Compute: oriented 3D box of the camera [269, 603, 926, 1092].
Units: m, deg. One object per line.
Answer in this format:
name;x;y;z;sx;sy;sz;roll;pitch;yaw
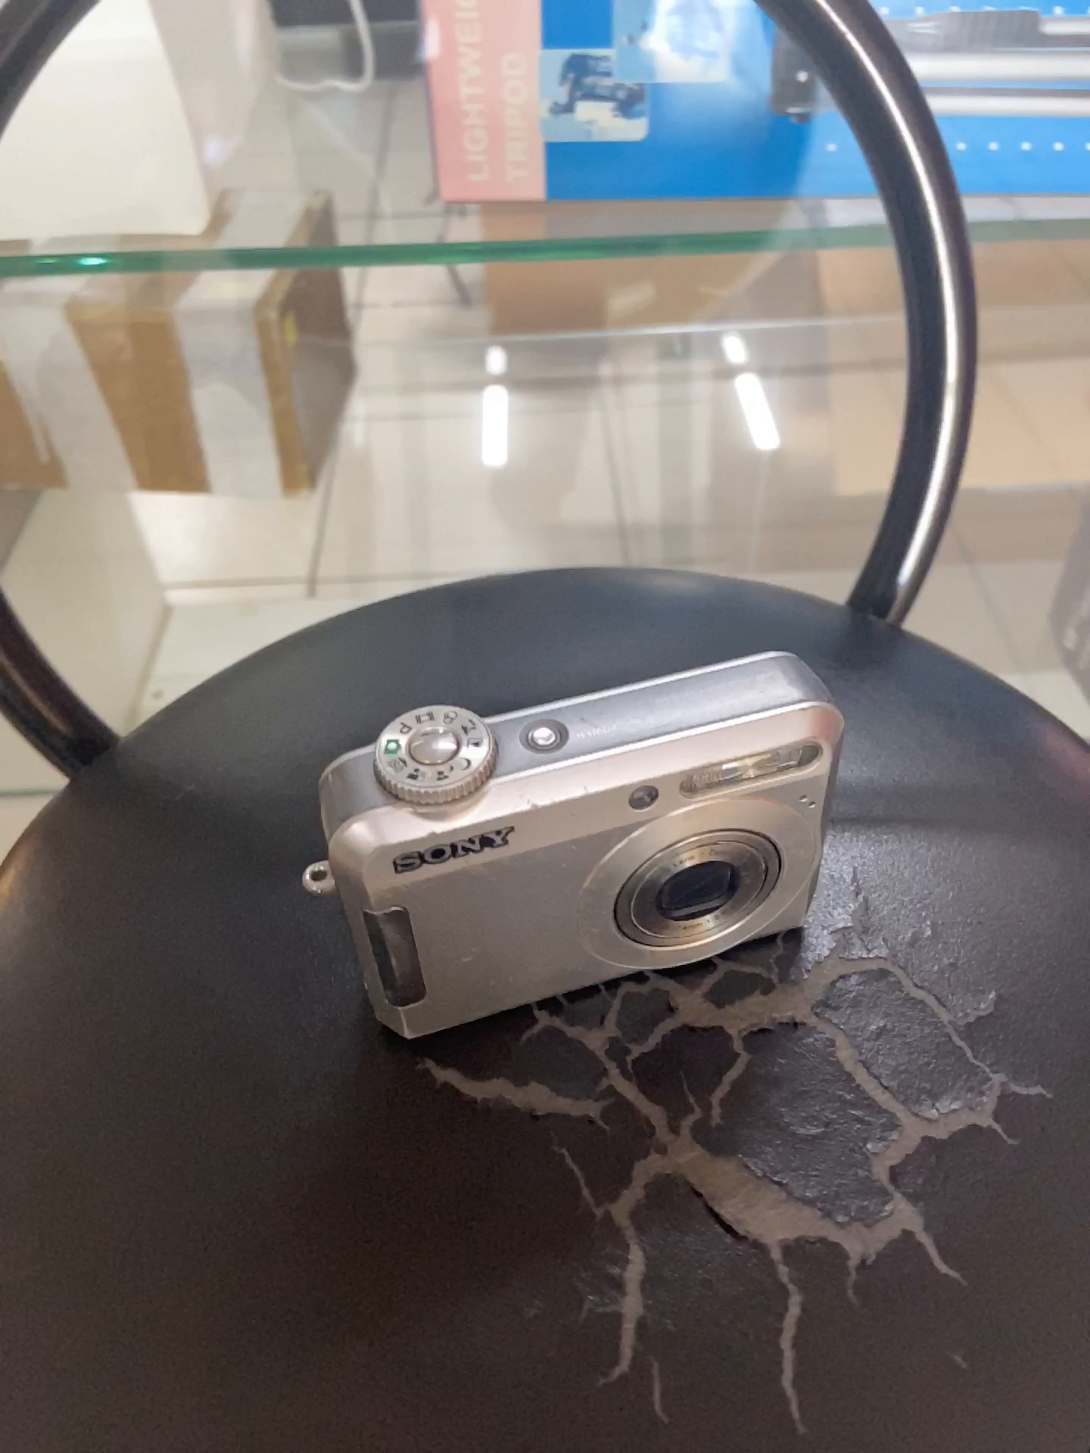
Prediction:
camera;0.008;0.020;0.203;0.100;0.050;0.040;-14;45;-11
